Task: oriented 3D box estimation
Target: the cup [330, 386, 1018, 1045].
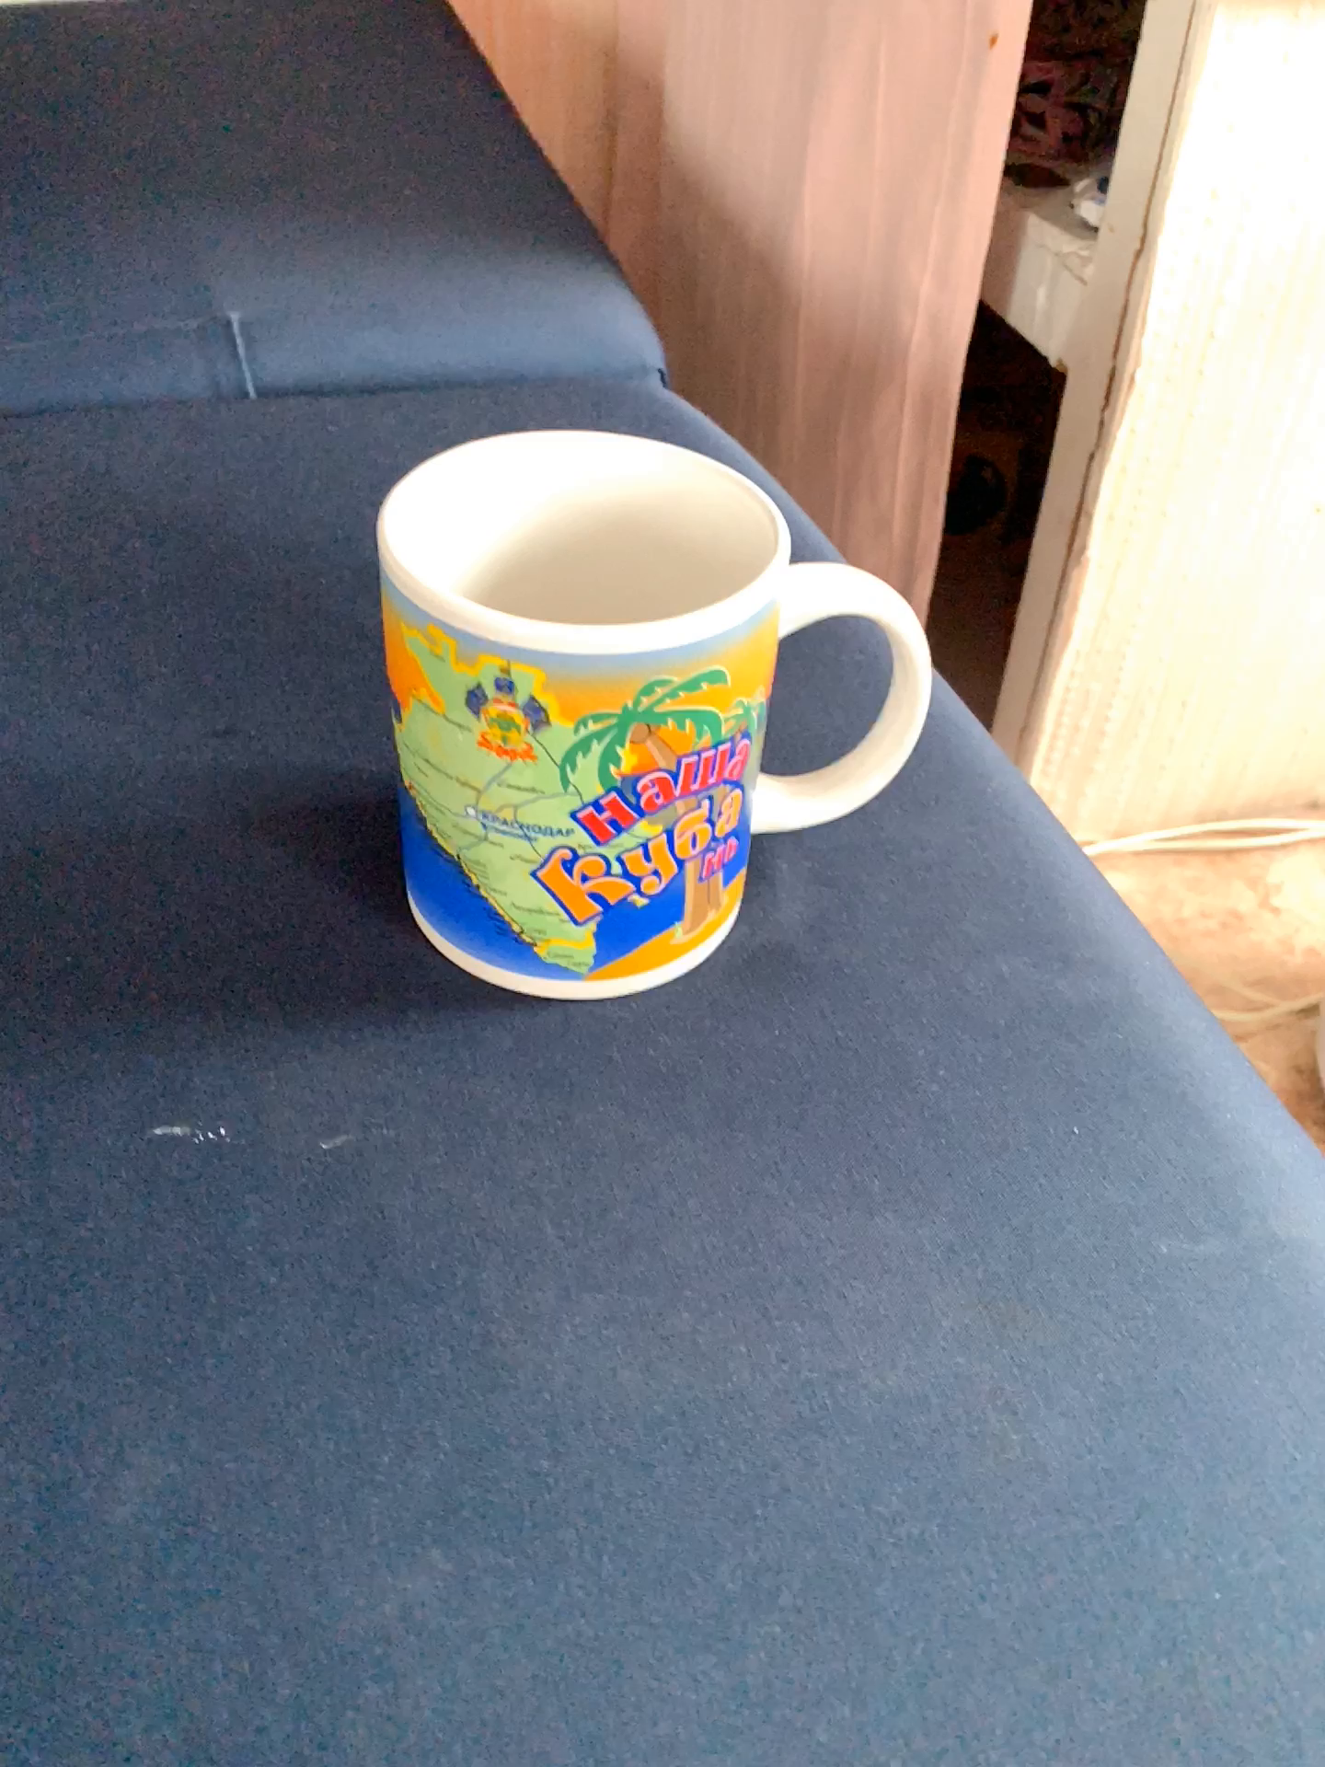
[{"bbox_3d":[-0.004,-0.040,0.309,0.120,0.099,0.091,-9,43,-11],"label":"cup"}]
